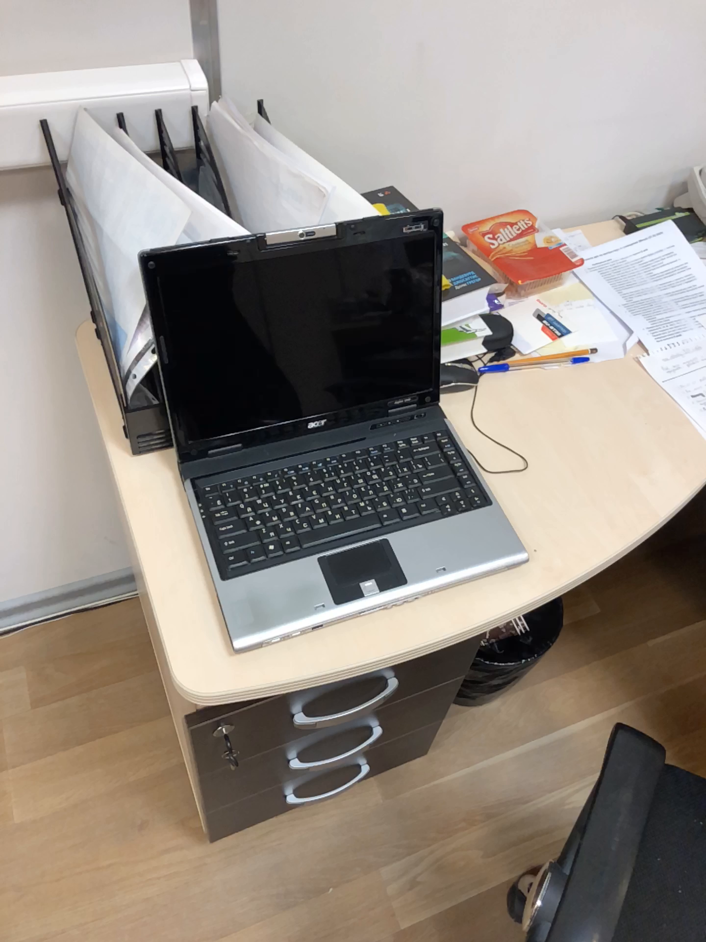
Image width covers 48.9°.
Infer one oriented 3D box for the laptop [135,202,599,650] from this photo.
[{"bbox_3d":[-0.008,-0.060,0.786,0.326,0.219,0.324,-14,55,-17],"label":"laptop"}]
